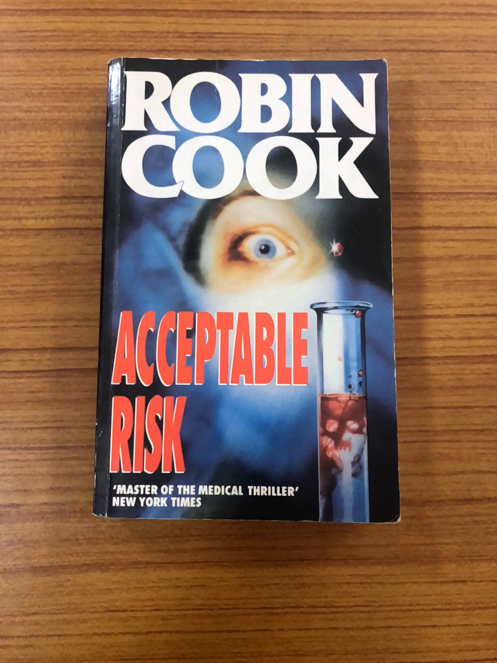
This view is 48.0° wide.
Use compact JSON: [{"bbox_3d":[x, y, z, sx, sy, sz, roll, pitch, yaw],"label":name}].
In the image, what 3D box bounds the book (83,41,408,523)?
[{"bbox_3d":[0.001,-0.019,0.217,0.110,0.040,0.170,2,84,-1],"label":"book"}]
